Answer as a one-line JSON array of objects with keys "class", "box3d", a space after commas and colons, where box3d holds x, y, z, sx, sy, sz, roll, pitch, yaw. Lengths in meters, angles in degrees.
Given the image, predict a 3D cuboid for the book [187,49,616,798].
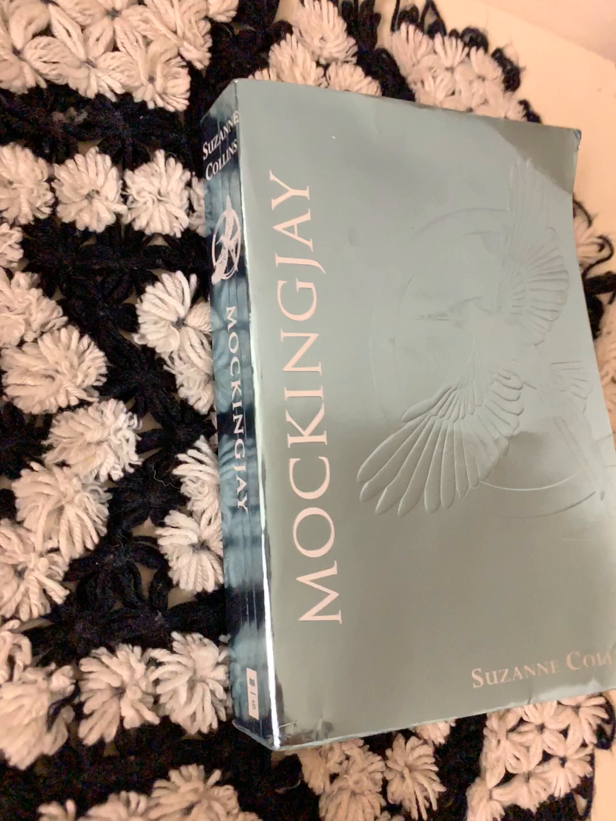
[{"class": "book", "box3d": [0.036, -0.001, 0.213, 0.136, 0.036, 0.193, 0, 82, -29]}]
